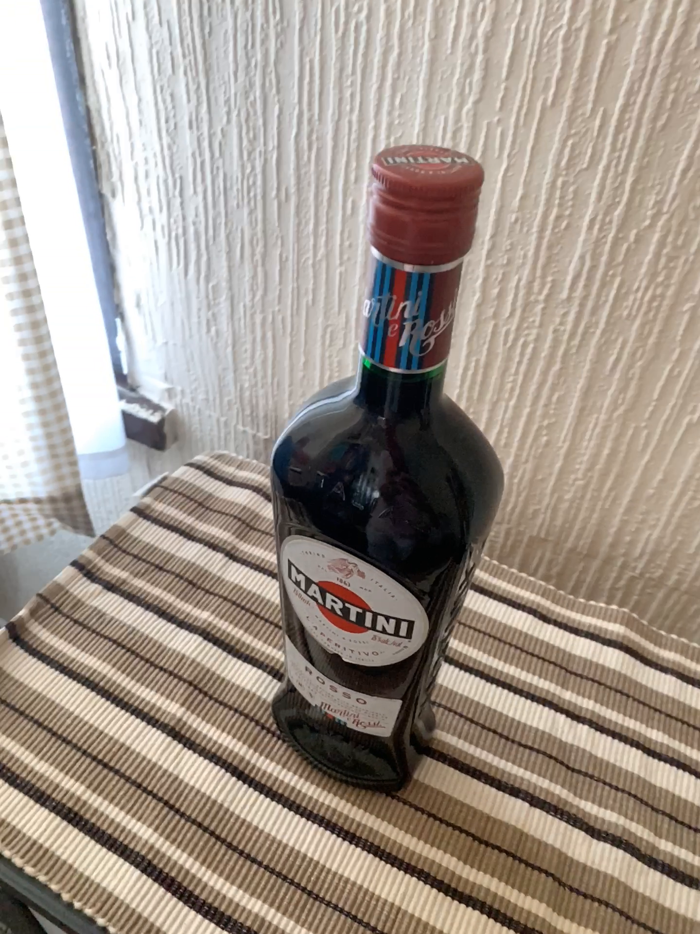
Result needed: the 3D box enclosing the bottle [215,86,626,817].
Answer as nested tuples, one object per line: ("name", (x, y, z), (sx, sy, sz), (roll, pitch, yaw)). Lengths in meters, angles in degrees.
("bottle", (0.010, 0.026, 0.287), (0.090, 0.297, 0.060), (23, 45, 19))
